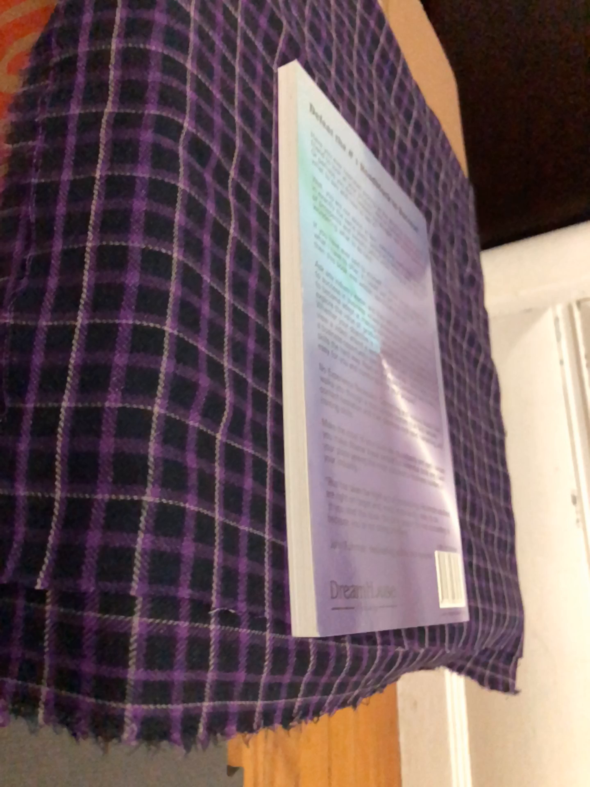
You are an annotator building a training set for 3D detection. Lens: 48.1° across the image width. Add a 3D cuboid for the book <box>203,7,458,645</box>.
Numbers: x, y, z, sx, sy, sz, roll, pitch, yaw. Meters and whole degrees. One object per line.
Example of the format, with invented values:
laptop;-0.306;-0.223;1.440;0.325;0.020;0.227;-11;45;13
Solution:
book;0.022;-0.016;0.280;0.161;0.020;0.220;24;59;-54
